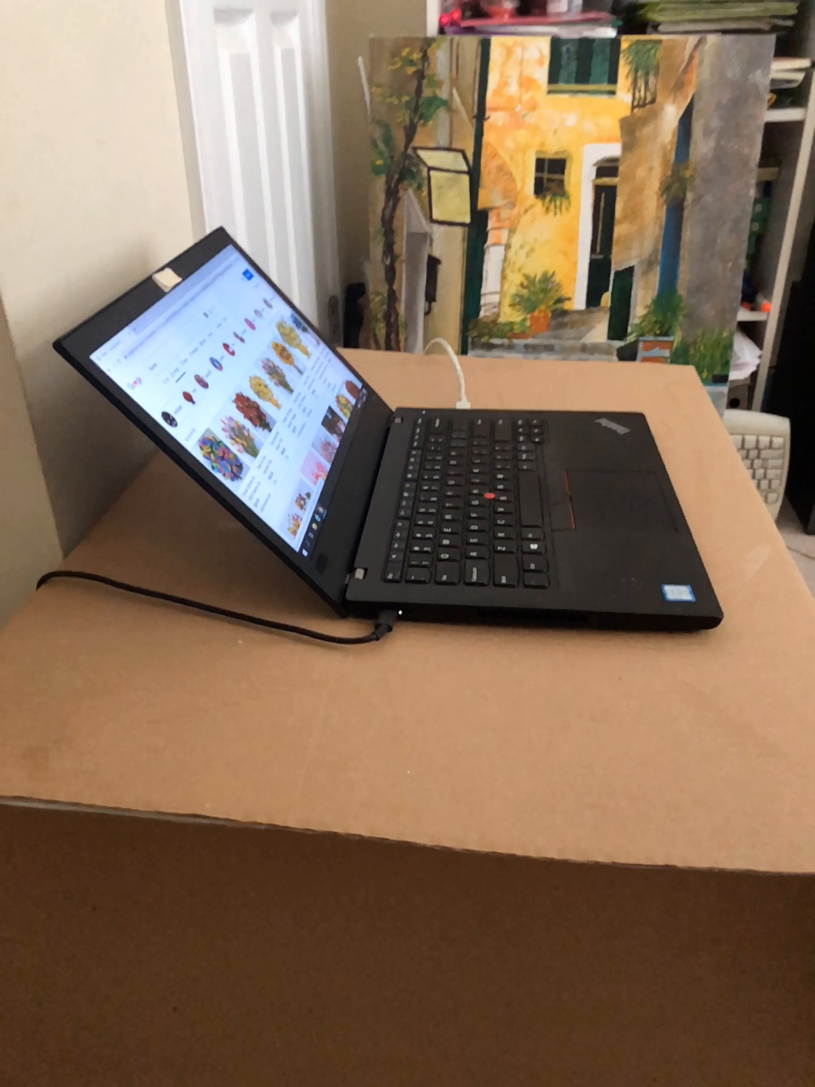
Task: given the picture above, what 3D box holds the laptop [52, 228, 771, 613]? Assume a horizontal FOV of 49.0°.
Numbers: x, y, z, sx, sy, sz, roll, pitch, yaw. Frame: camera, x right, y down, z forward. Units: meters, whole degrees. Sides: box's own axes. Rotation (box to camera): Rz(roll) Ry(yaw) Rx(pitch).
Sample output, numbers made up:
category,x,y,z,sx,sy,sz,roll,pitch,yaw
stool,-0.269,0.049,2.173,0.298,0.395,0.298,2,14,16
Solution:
category,x,y,z,sx,sy,sz,roll,pitch,yaw
laptop,0.012,-0.112,0.631,0.364,0.158,0.324,1,29,4
